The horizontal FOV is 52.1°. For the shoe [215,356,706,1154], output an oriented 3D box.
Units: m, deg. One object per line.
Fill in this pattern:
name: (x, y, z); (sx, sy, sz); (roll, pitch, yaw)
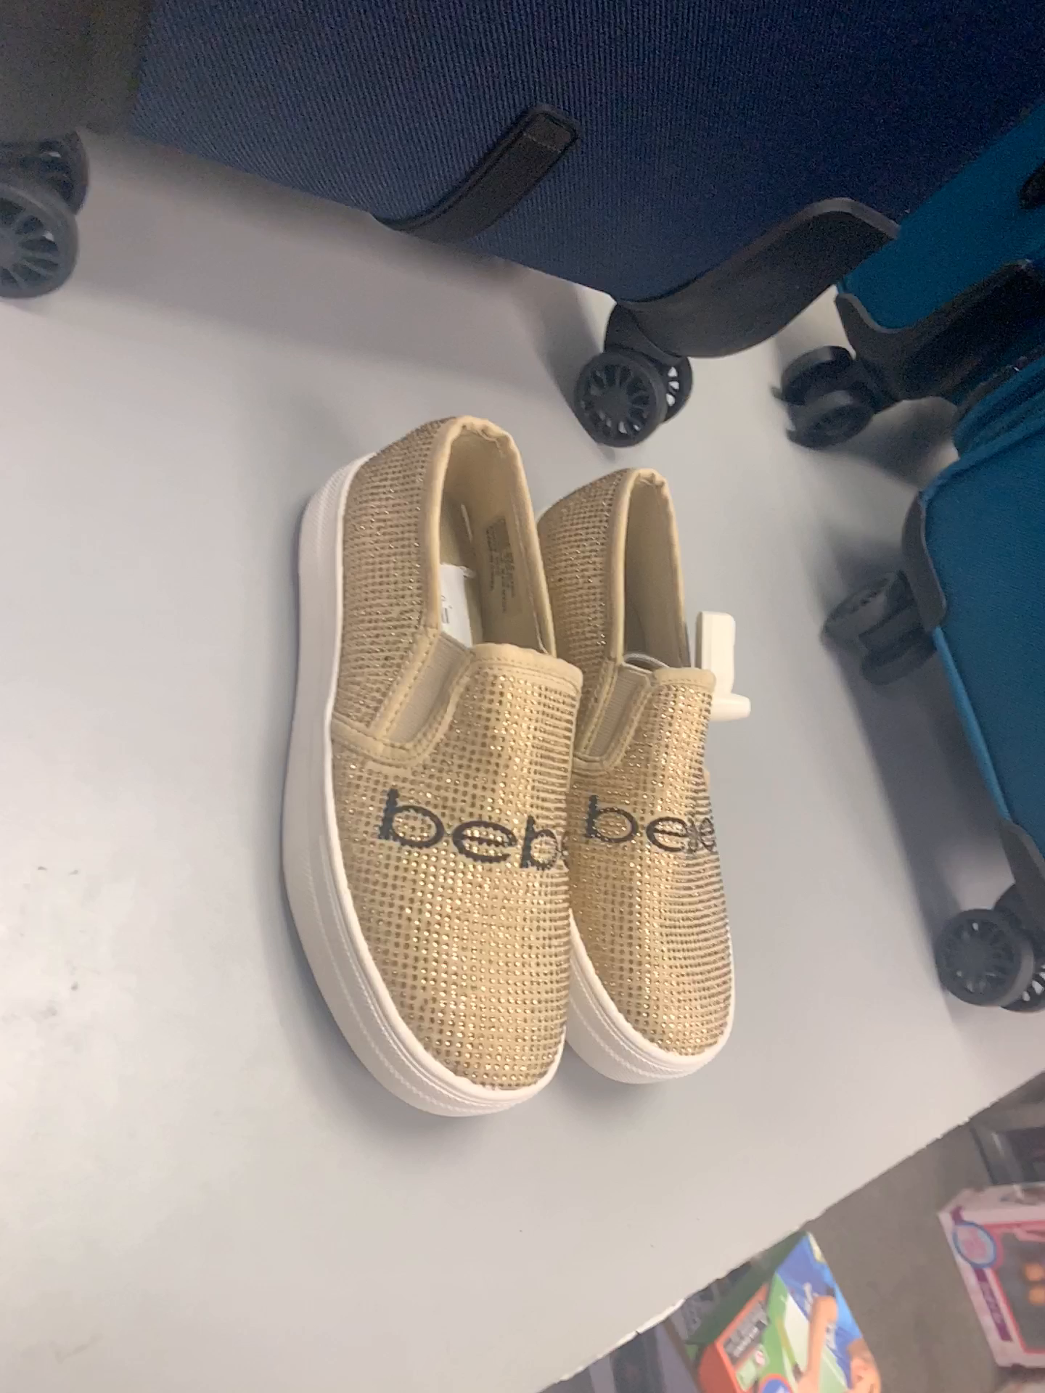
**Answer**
shoe: (-0.030, 0.018, 0.349); (0.094, 0.086, 0.222); (6, 63, -38)

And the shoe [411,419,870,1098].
shoe: (0.036, 0.023, 0.405); (0.094, 0.086, 0.222); (6, 63, -38)
